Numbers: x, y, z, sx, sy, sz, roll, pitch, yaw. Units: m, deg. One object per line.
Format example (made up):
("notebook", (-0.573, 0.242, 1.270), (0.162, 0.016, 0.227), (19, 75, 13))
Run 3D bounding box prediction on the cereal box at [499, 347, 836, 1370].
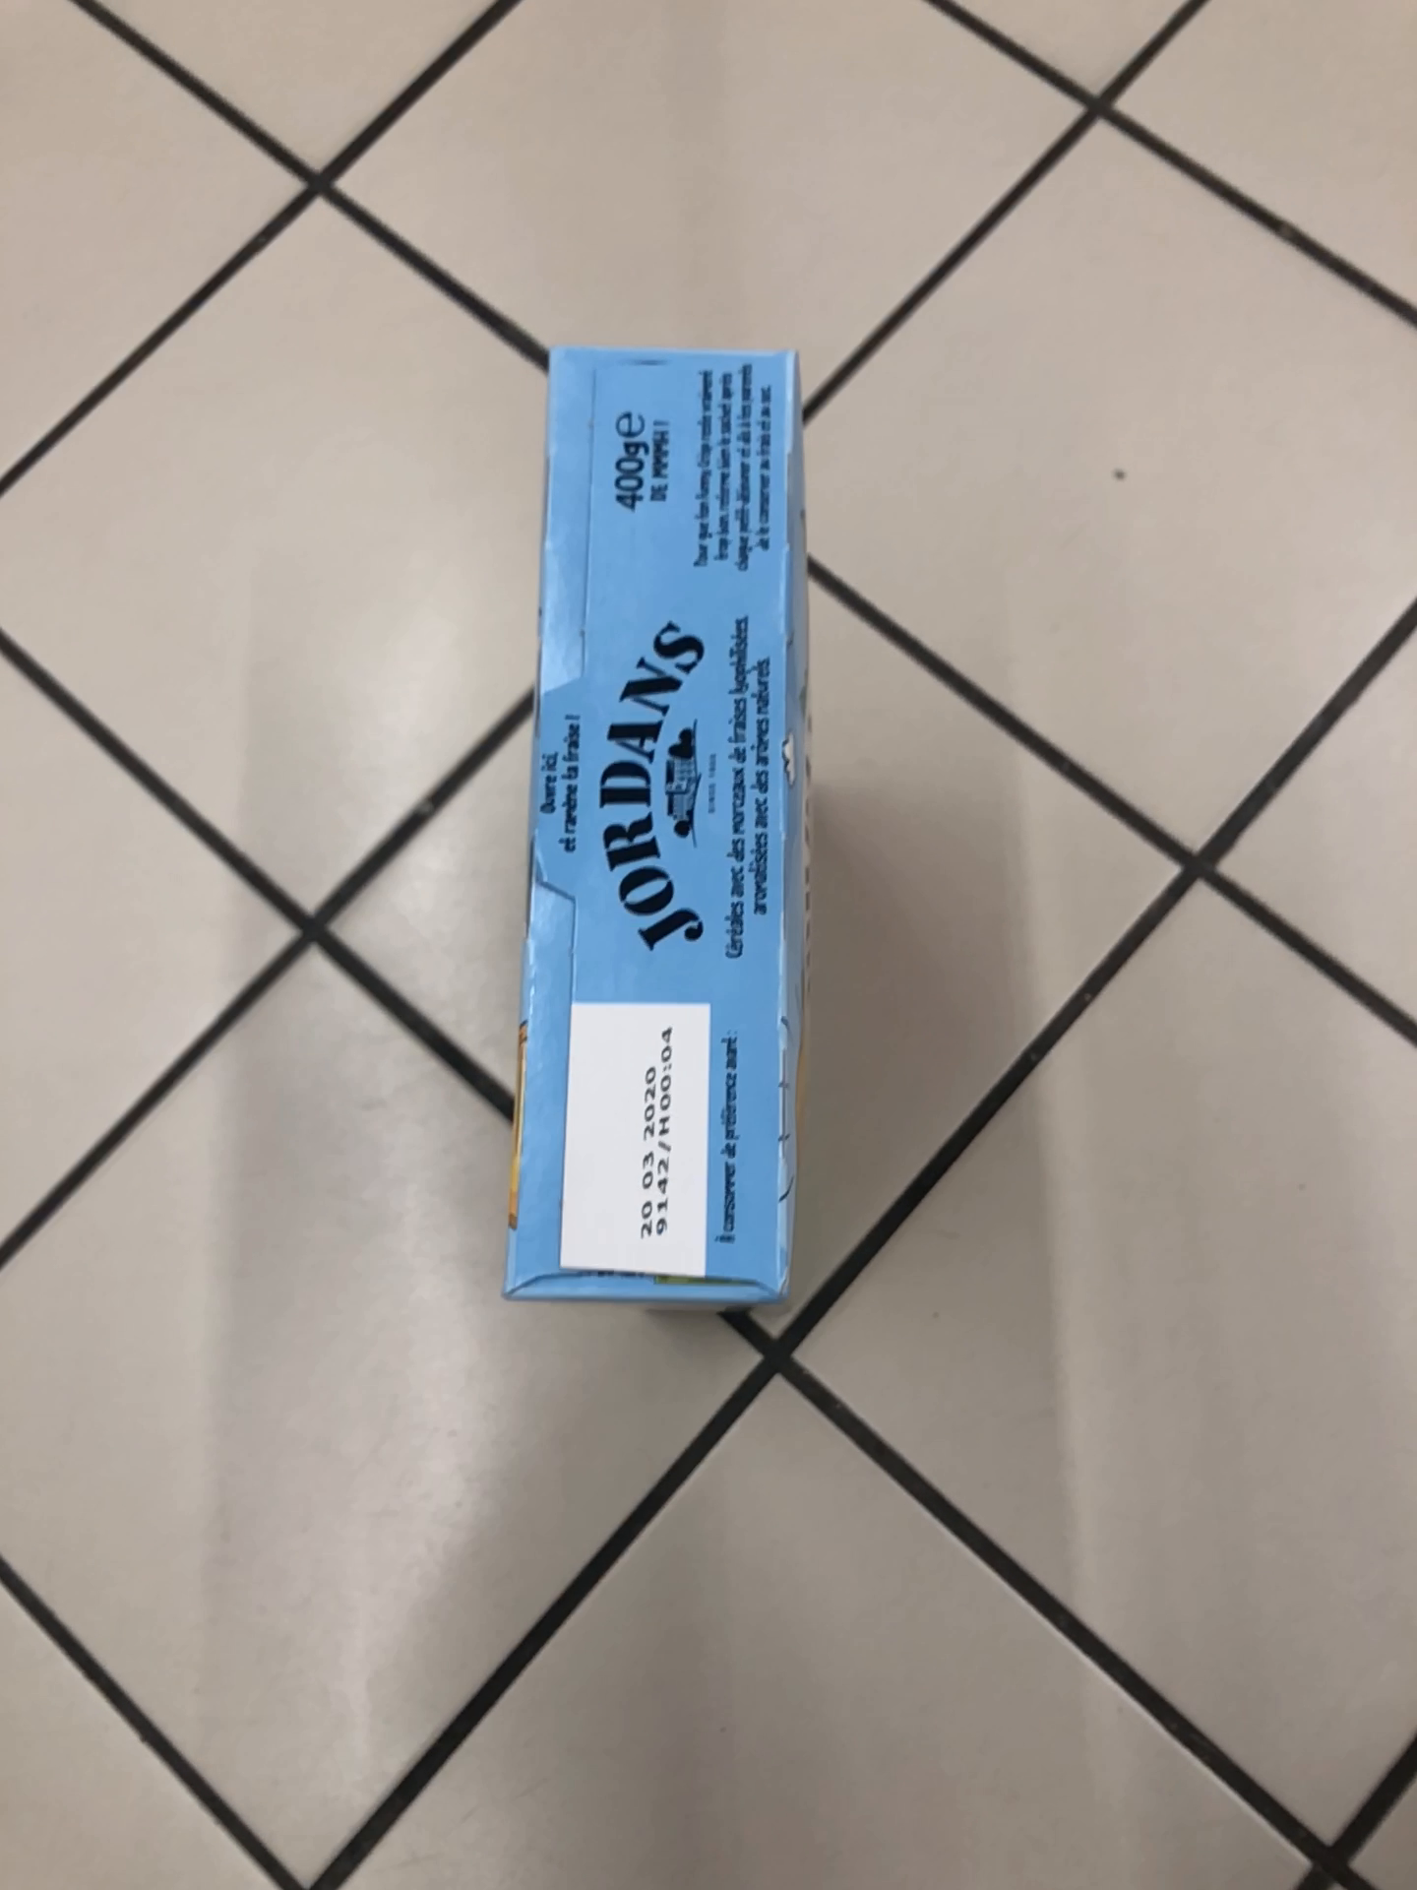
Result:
("cereal box", (0.004, 0.007, 0.364), (0.050, 0.230, 0.170), (0, 76, 4))
